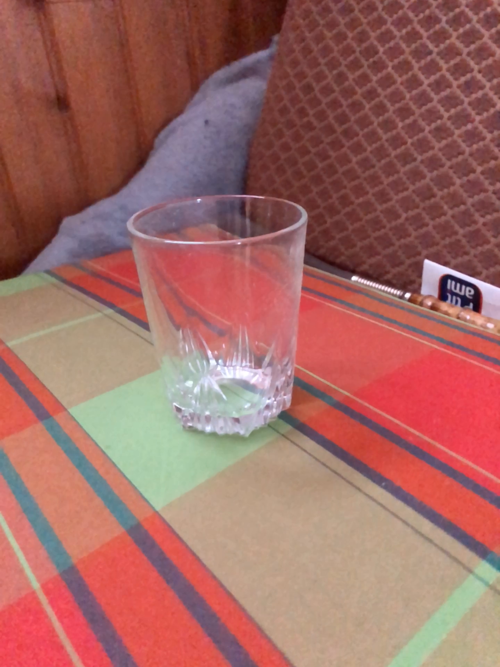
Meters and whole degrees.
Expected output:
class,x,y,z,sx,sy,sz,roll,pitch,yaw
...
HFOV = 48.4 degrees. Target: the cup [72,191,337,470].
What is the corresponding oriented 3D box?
class,x,y,z,sx,sy,sz,roll,pitch,yaw
cup,-0.012,-0.008,0.224,0.070,0.080,0.070,-5,27,2
